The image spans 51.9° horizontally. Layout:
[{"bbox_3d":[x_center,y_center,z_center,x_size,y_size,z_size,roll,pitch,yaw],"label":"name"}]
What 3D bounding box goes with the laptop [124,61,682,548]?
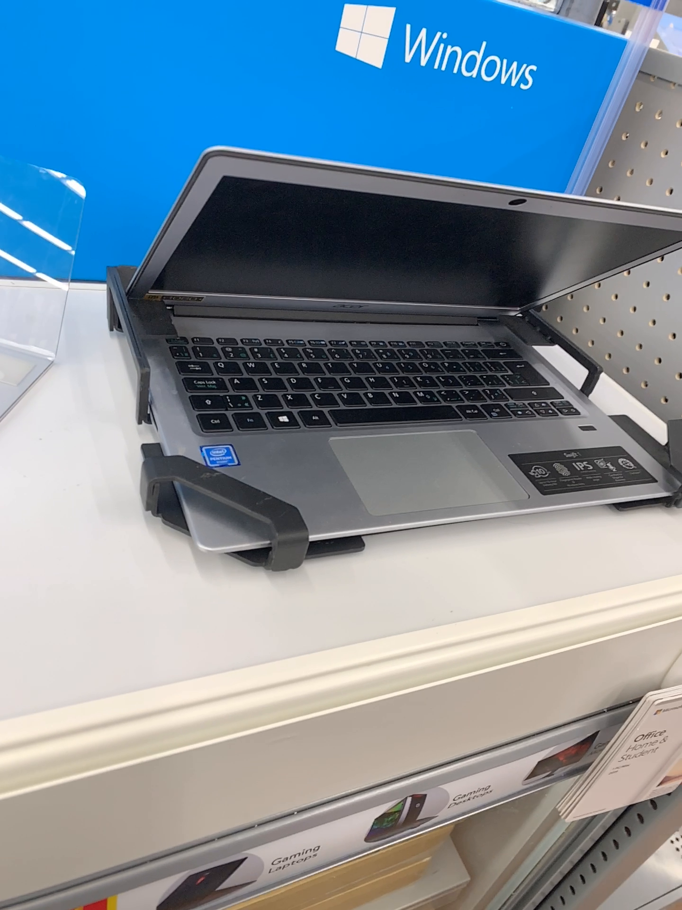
[{"bbox_3d":[0.055,-0.088,0.399,0.308,0.140,0.198,-3,42,-26],"label":"laptop"}]
